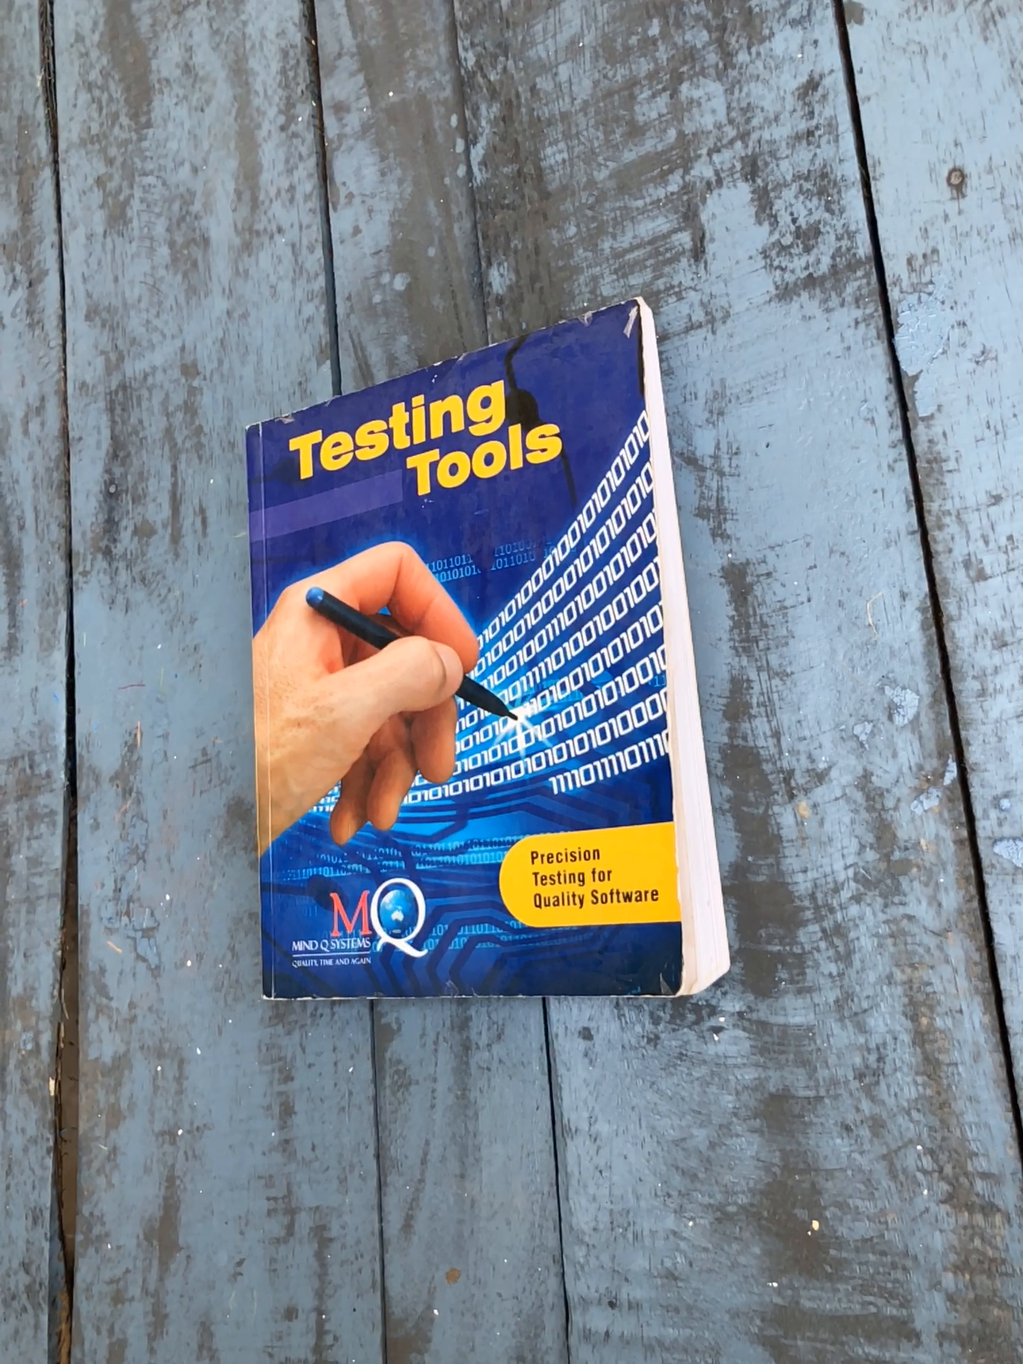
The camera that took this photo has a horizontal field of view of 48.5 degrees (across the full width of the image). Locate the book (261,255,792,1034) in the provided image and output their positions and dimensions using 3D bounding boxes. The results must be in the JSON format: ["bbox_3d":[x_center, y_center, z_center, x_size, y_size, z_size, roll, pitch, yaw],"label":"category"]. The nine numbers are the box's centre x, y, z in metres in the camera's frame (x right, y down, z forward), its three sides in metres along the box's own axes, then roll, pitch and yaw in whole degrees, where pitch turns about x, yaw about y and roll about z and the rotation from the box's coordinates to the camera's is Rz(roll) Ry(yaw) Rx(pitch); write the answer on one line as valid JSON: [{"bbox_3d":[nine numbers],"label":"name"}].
[{"bbox_3d":[-0.007,-0.003,0.435,0.191,0.050,0.260,-10,75,30],"label":"book"}]
